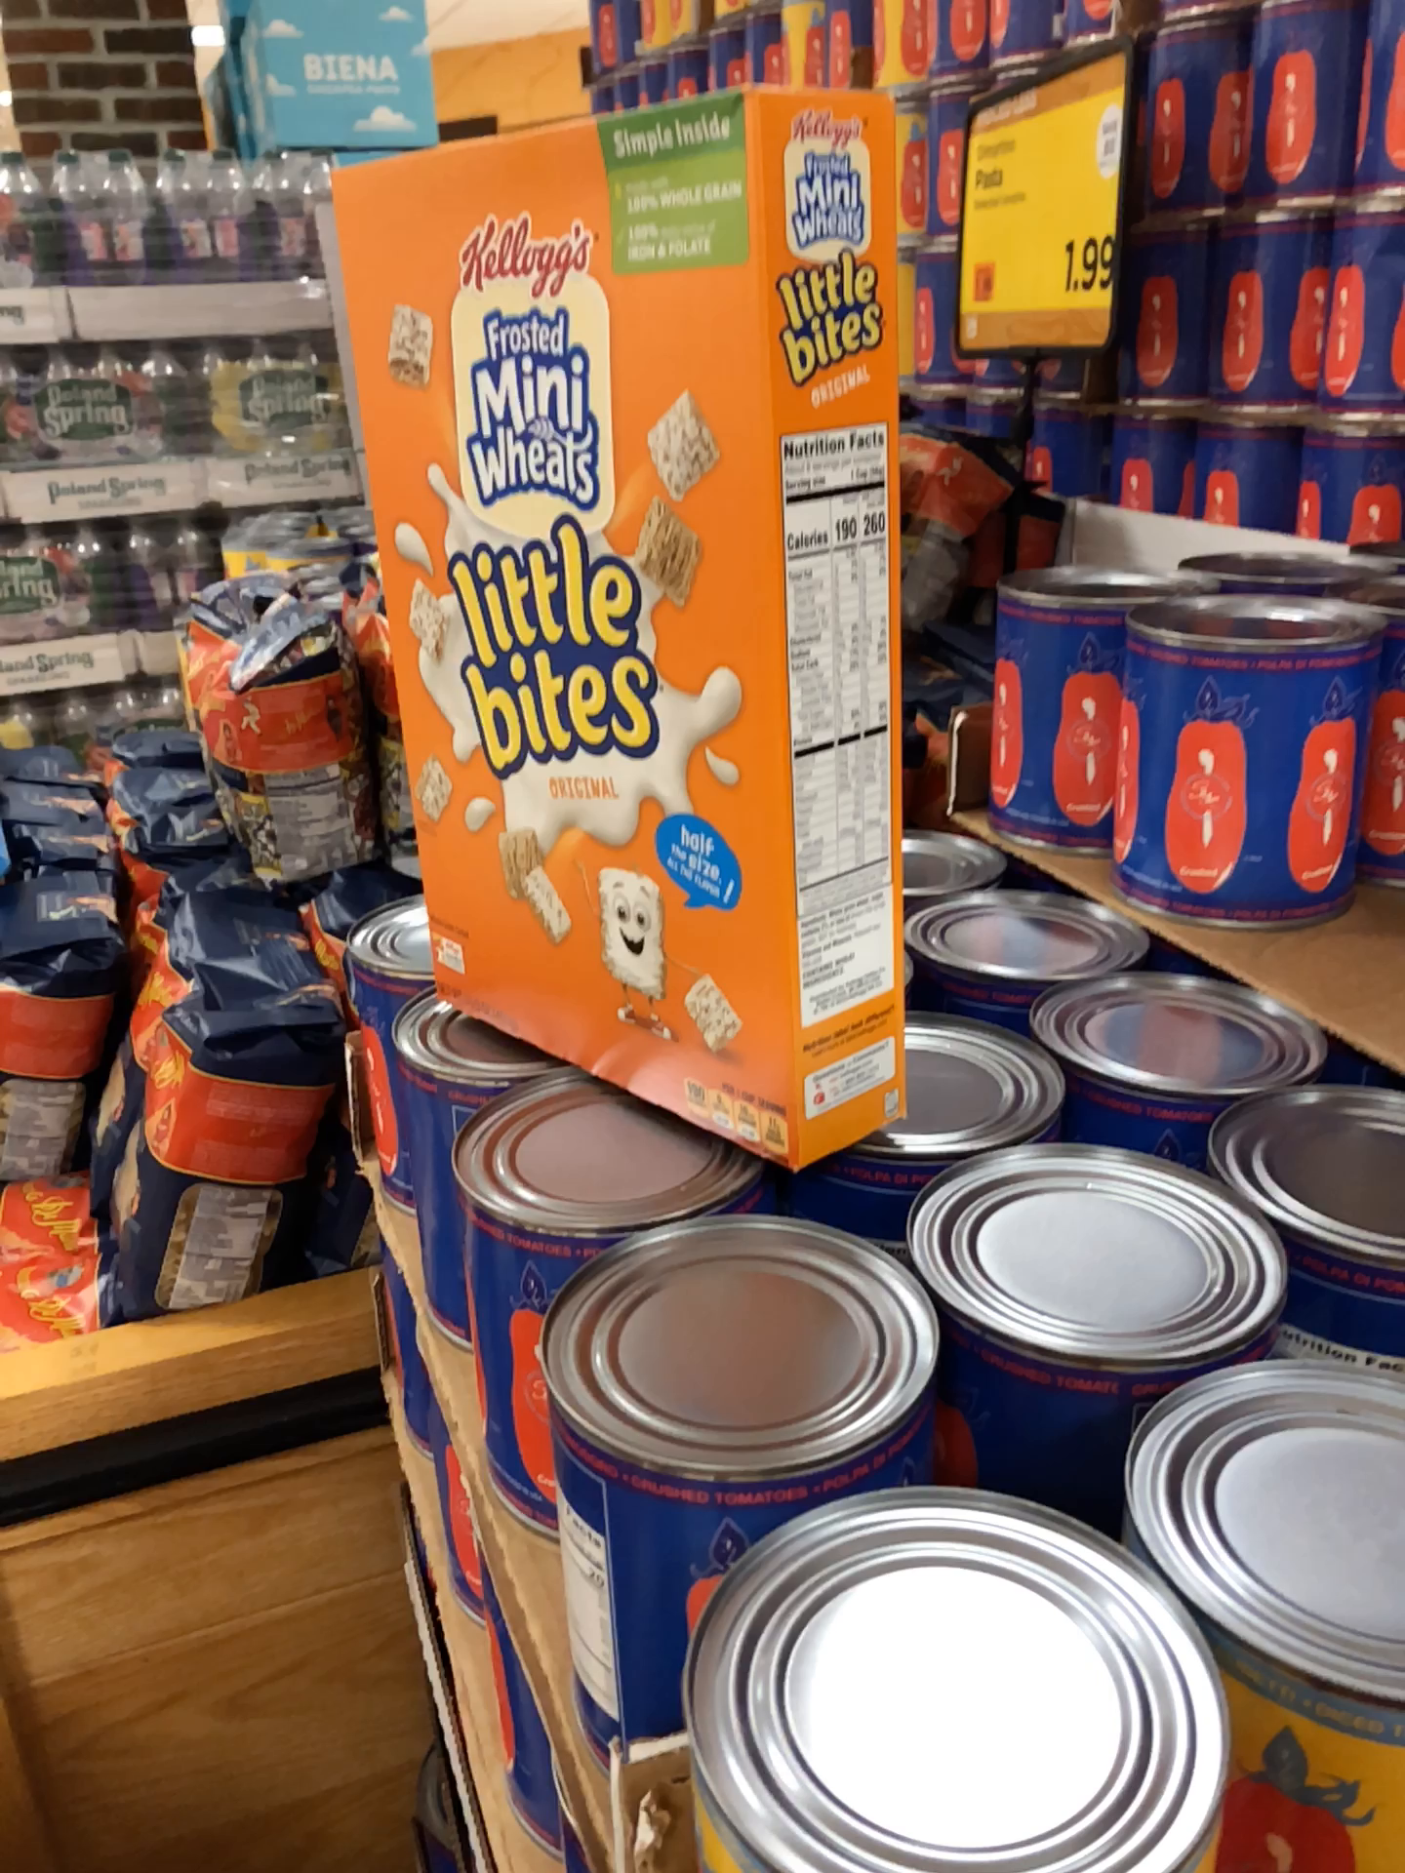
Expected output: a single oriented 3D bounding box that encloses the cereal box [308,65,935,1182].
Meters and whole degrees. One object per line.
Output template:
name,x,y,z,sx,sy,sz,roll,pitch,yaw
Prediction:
cereal box,-0.026,-0.095,0.487,0.060,0.288,0.200,-22,28,-39
